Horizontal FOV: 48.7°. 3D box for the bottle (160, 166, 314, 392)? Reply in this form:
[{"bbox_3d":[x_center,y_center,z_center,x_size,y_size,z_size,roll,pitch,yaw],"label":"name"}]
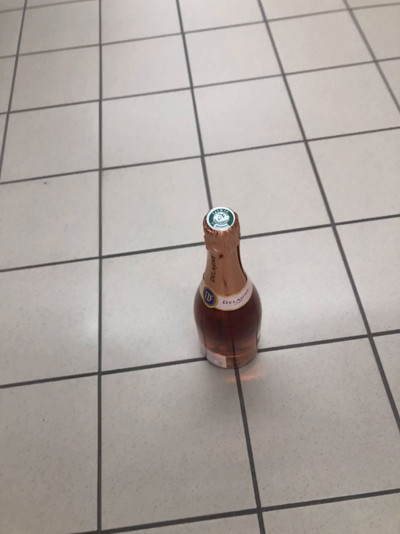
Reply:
[{"bbox_3d":[0.041,0.036,0.509,0.090,0.289,0.100,-38,63,-17],"label":"bottle"}]
